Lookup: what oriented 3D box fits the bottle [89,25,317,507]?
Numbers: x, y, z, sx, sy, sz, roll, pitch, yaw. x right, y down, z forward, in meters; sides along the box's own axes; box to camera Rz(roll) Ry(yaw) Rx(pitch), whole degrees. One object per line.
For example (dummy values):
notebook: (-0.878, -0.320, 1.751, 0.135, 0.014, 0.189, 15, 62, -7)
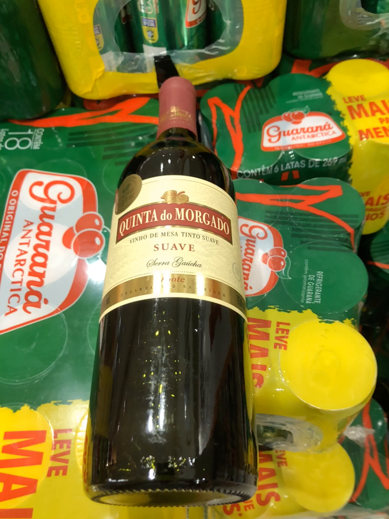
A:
bottle: (-0.005, -0.015, 0.251, 0.080, 0.070, 0.271, 6, 58, -12)
